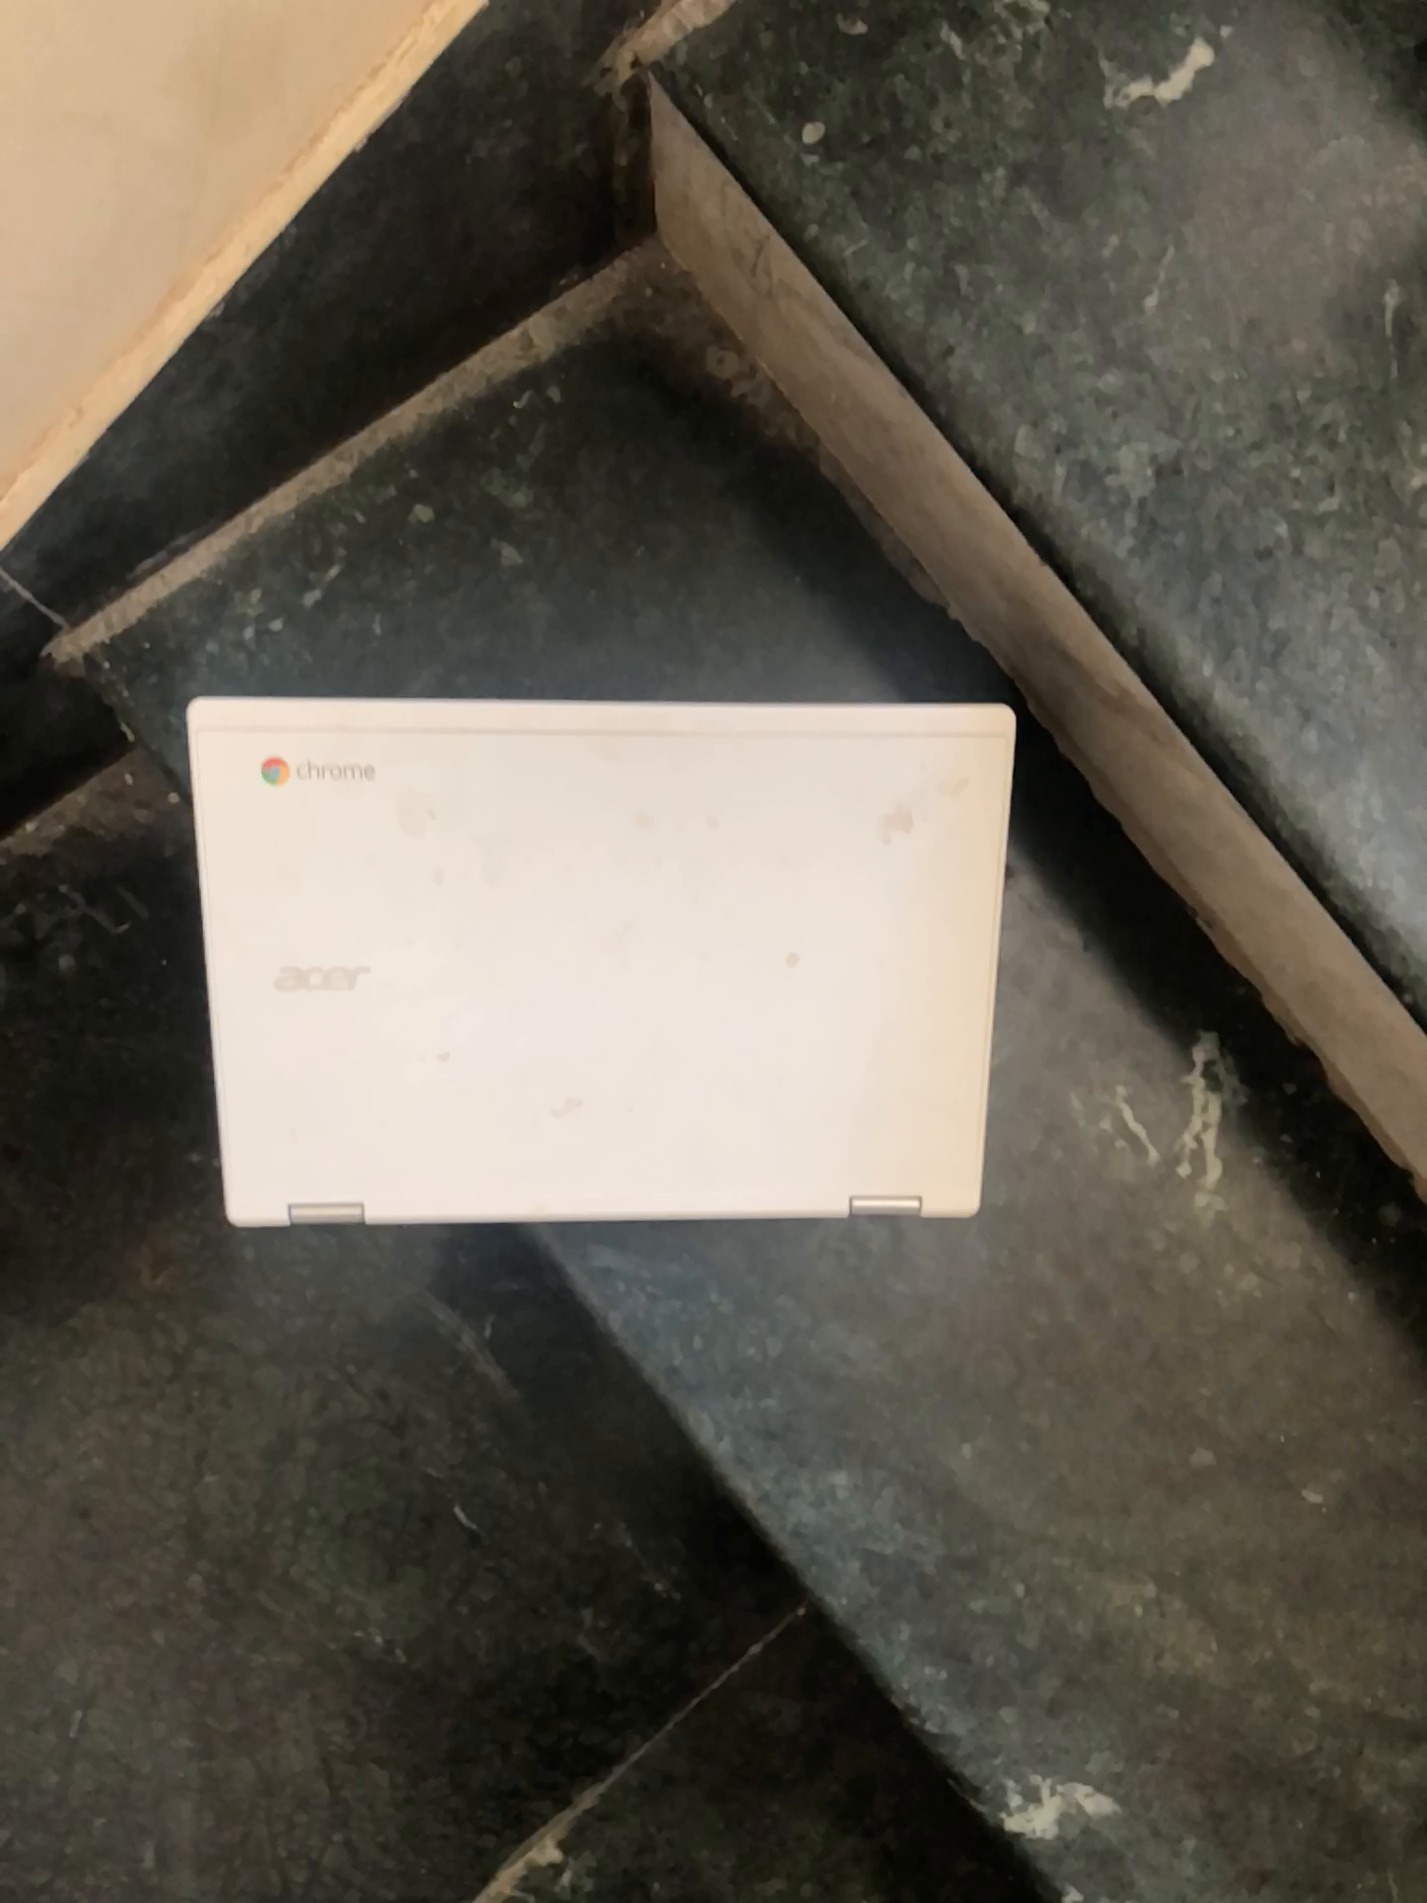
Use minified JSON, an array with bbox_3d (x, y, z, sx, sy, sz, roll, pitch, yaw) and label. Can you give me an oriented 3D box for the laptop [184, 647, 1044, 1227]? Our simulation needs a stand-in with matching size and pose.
[{"bbox_3d":[-0.035,-0.001,0.572,0.282,0.091,0.190,0,87,-5],"label":"laptop"}]
